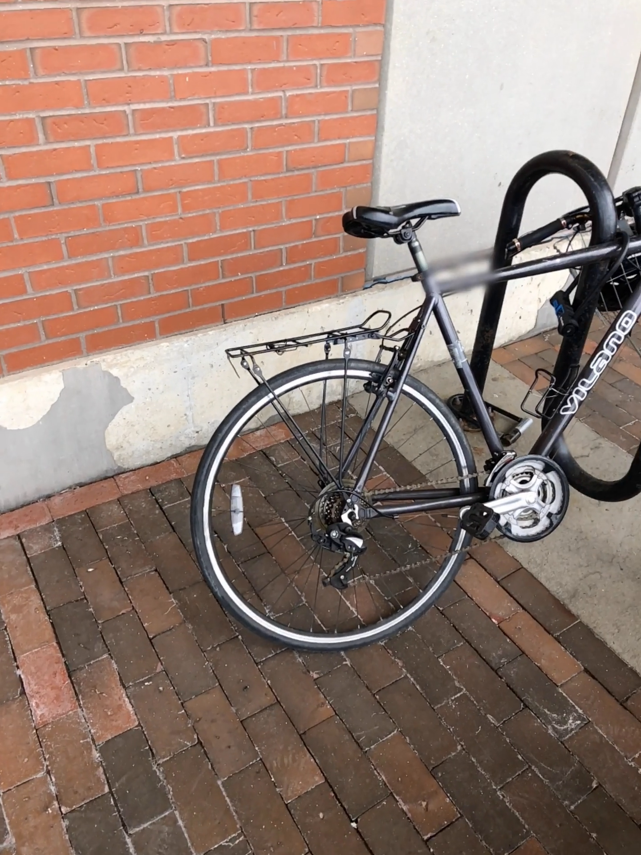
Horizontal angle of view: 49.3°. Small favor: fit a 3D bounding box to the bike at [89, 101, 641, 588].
[{"bbox_3d":[0.185,-0.363,1.912,1.418,0.734,0.746,-18,41,-27],"label":"bike"}]
